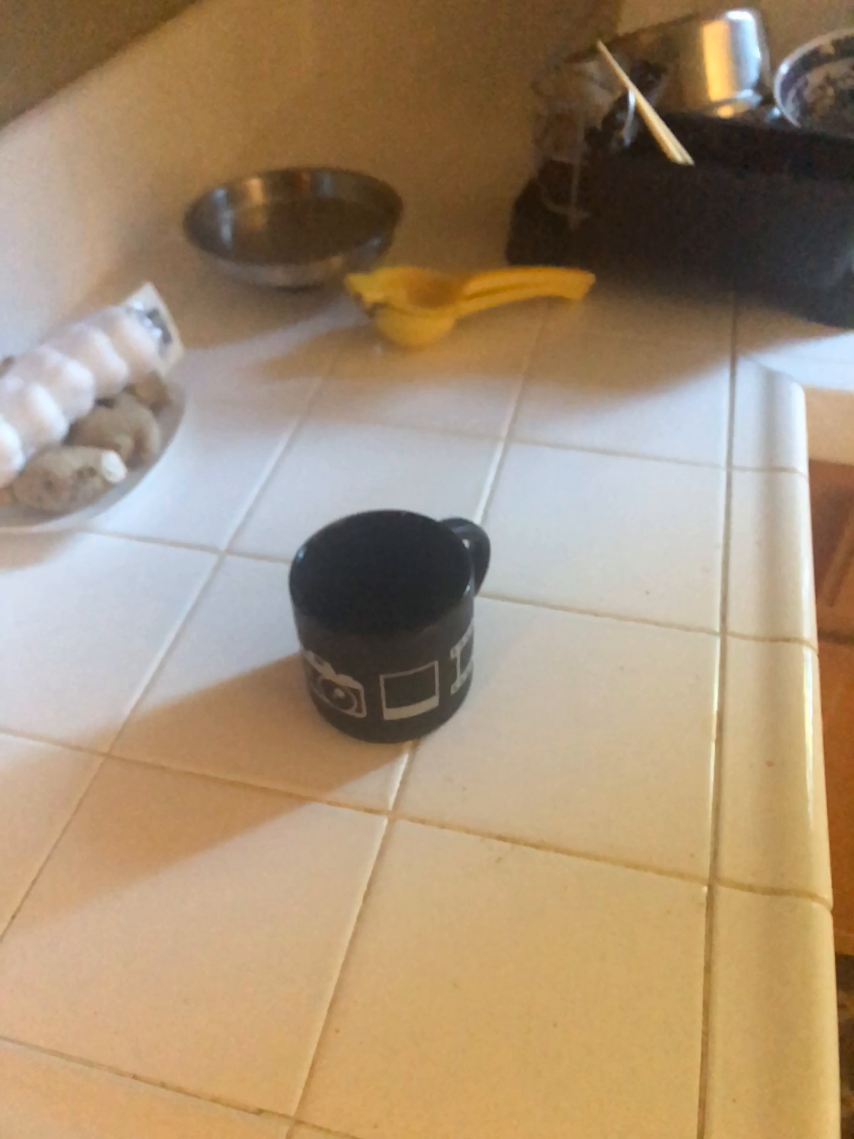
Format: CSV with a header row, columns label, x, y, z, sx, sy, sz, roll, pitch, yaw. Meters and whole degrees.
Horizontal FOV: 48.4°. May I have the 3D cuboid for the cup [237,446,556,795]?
label,x,y,z,sx,sy,sz,roll,pitch,yaw
cup,-0.011,0.022,0.486,0.090,0.089,0.131,29,52,27
